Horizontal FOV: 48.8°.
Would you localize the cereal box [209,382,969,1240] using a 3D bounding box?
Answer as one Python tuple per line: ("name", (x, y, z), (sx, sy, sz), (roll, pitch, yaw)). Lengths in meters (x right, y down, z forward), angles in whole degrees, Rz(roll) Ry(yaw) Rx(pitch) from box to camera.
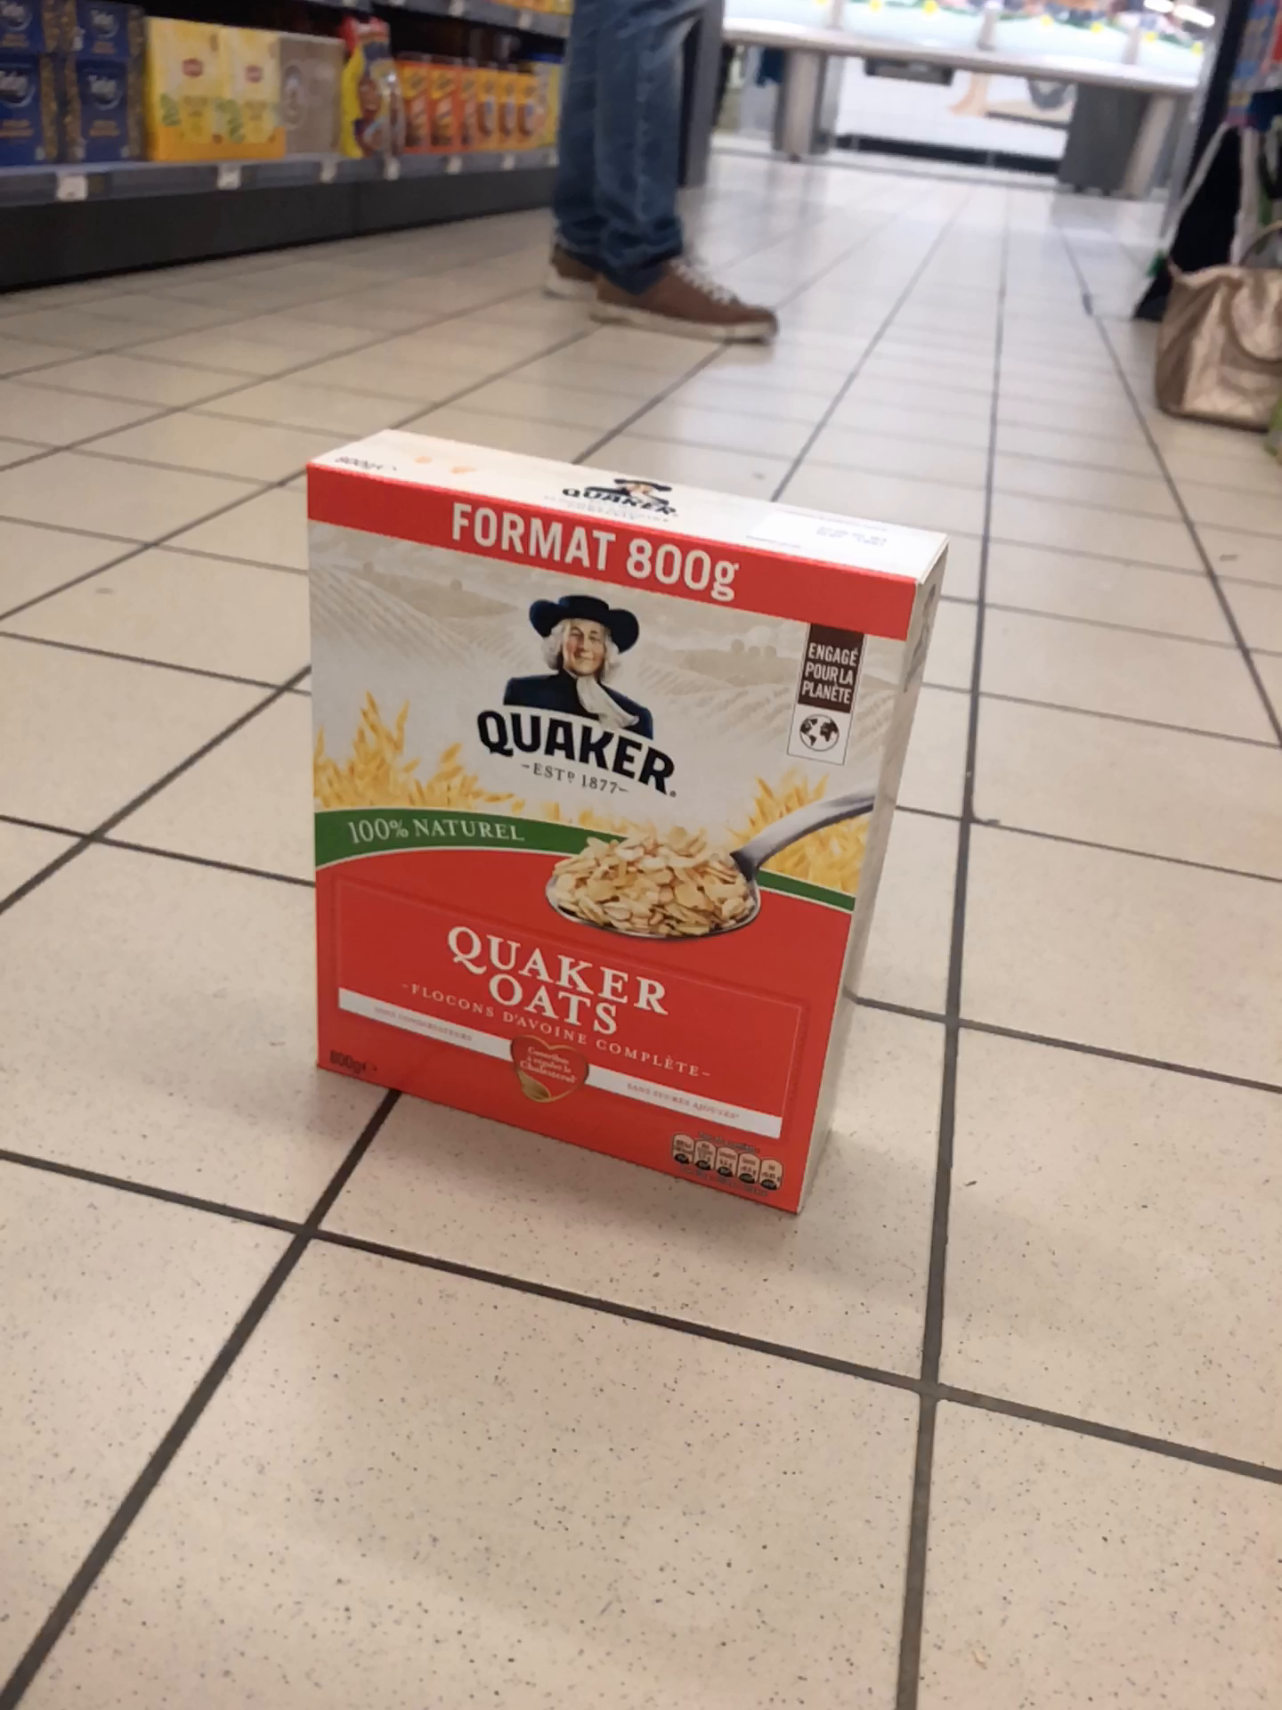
("cereal box", (-0.026, -0.014, 0.456), (0.210, 0.229, 0.060), (14, 29, 14))
